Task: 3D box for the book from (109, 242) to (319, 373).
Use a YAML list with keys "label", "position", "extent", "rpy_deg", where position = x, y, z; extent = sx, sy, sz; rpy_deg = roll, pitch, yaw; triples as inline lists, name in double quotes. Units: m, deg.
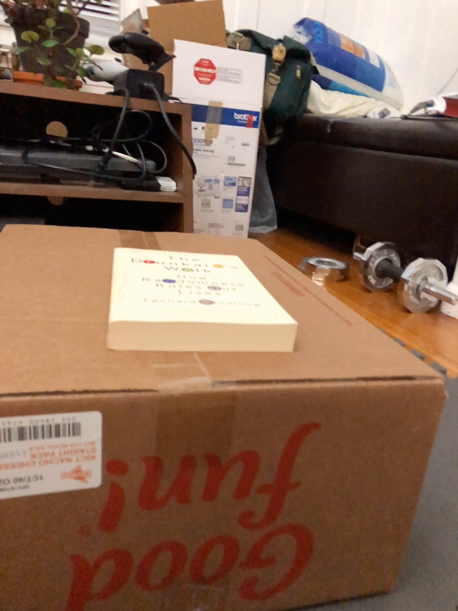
- label: "book"
  position: [-0.029, -0.009, 0.431]
  extent: [0.140, 0.040, 0.211]
  rpy_deg: [1, 19, -13]
